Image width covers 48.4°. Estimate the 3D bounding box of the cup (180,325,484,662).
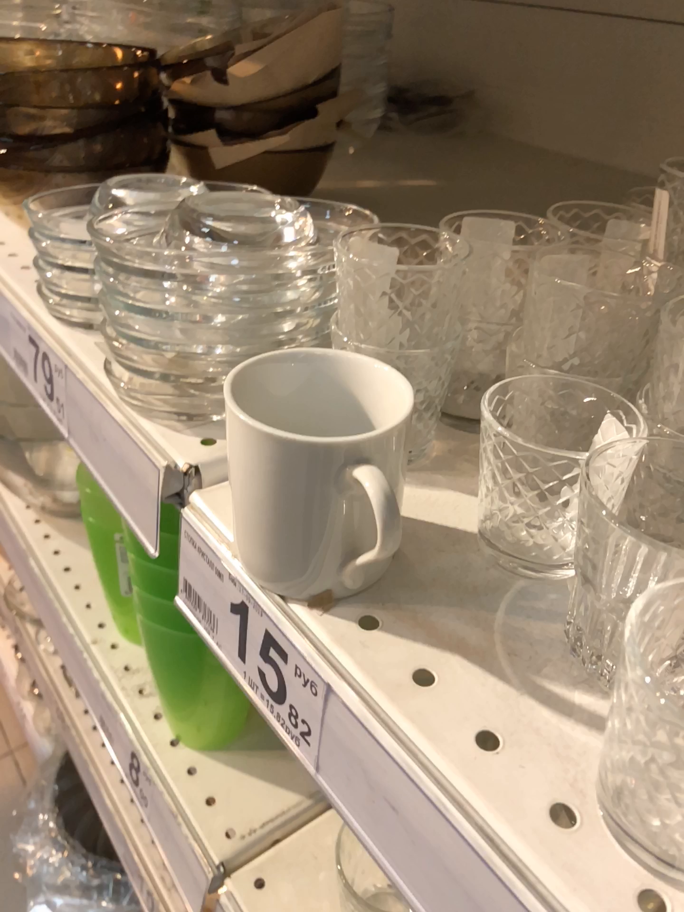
[{"bbox_3d":[-0.007,0.007,0.233,0.057,0.060,0.075,-16,38,-27],"label":"cup"}]
